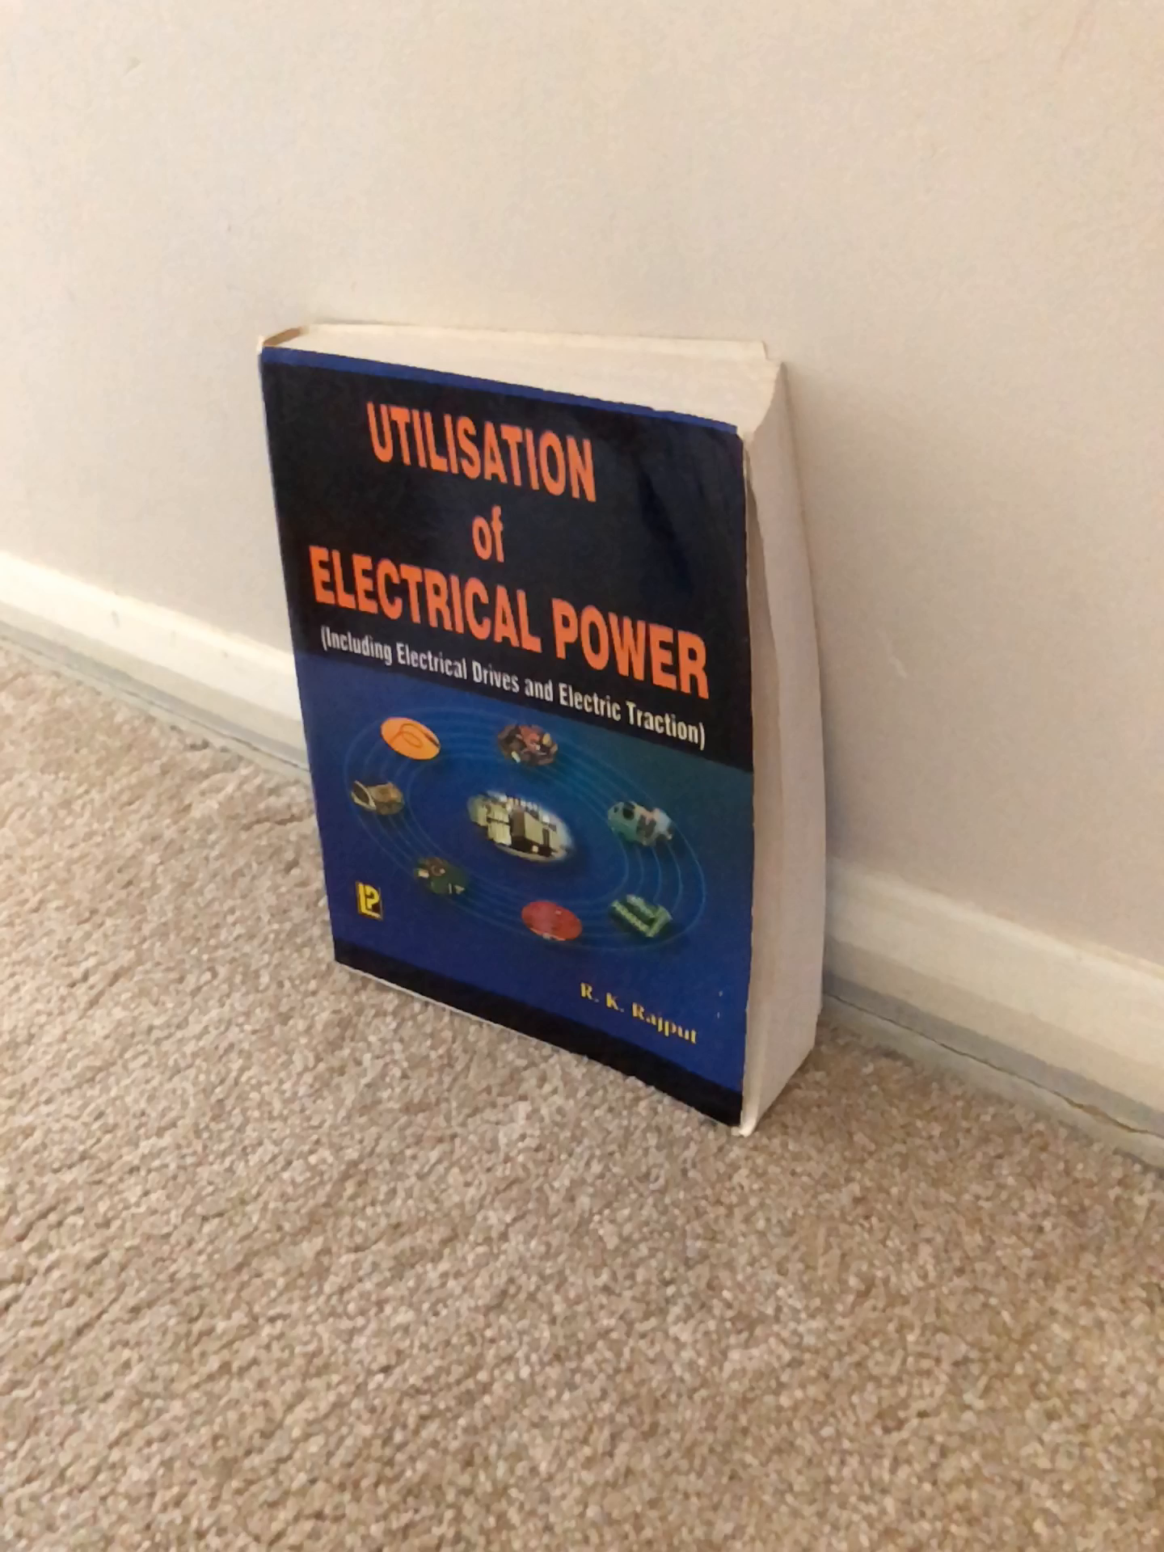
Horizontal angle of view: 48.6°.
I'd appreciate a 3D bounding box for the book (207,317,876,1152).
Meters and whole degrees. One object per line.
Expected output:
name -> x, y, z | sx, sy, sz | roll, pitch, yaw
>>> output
book -> -0.011, -0.017, 0.407 | 0.191, 0.229, 0.050 | 15, 35, 32
